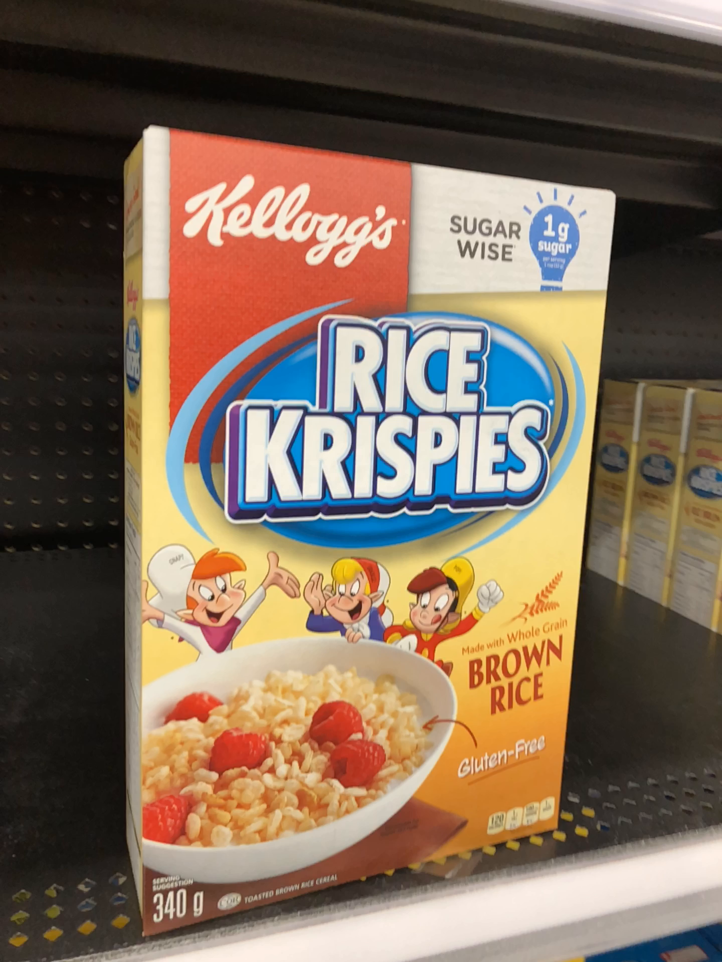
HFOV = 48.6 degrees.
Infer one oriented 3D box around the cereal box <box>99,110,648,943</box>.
[{"bbox_3d":[0.003,0.019,0.339,0.210,0.289,0.060,-2,11,-24],"label":"cereal box"}]
